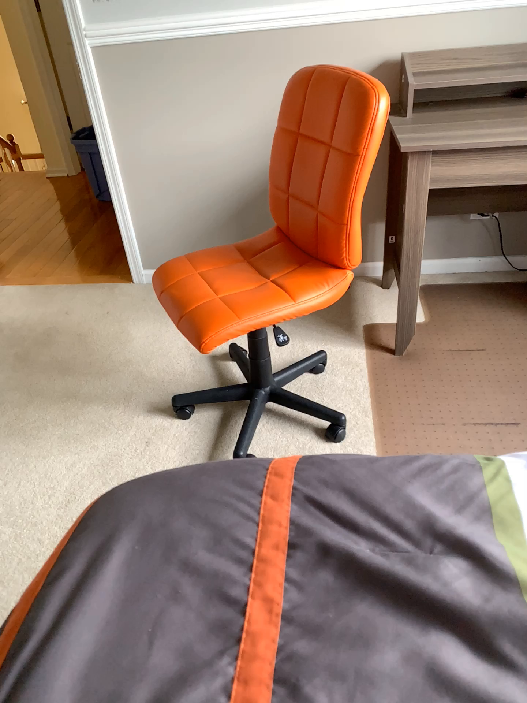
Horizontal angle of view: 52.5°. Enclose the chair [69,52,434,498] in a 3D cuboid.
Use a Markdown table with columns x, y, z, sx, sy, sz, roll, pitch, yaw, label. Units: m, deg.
| x | y | z | sx | sy | sz | roll | pitch | yaw | label |
| --- | --- | --- | --- | --- | --- | --- | --- | --- | --- |
| -0.036 | -0.238 | 1.458 | 0.617 | 0.901 | 0.618 | -19 | 38 | -19 | chair |
